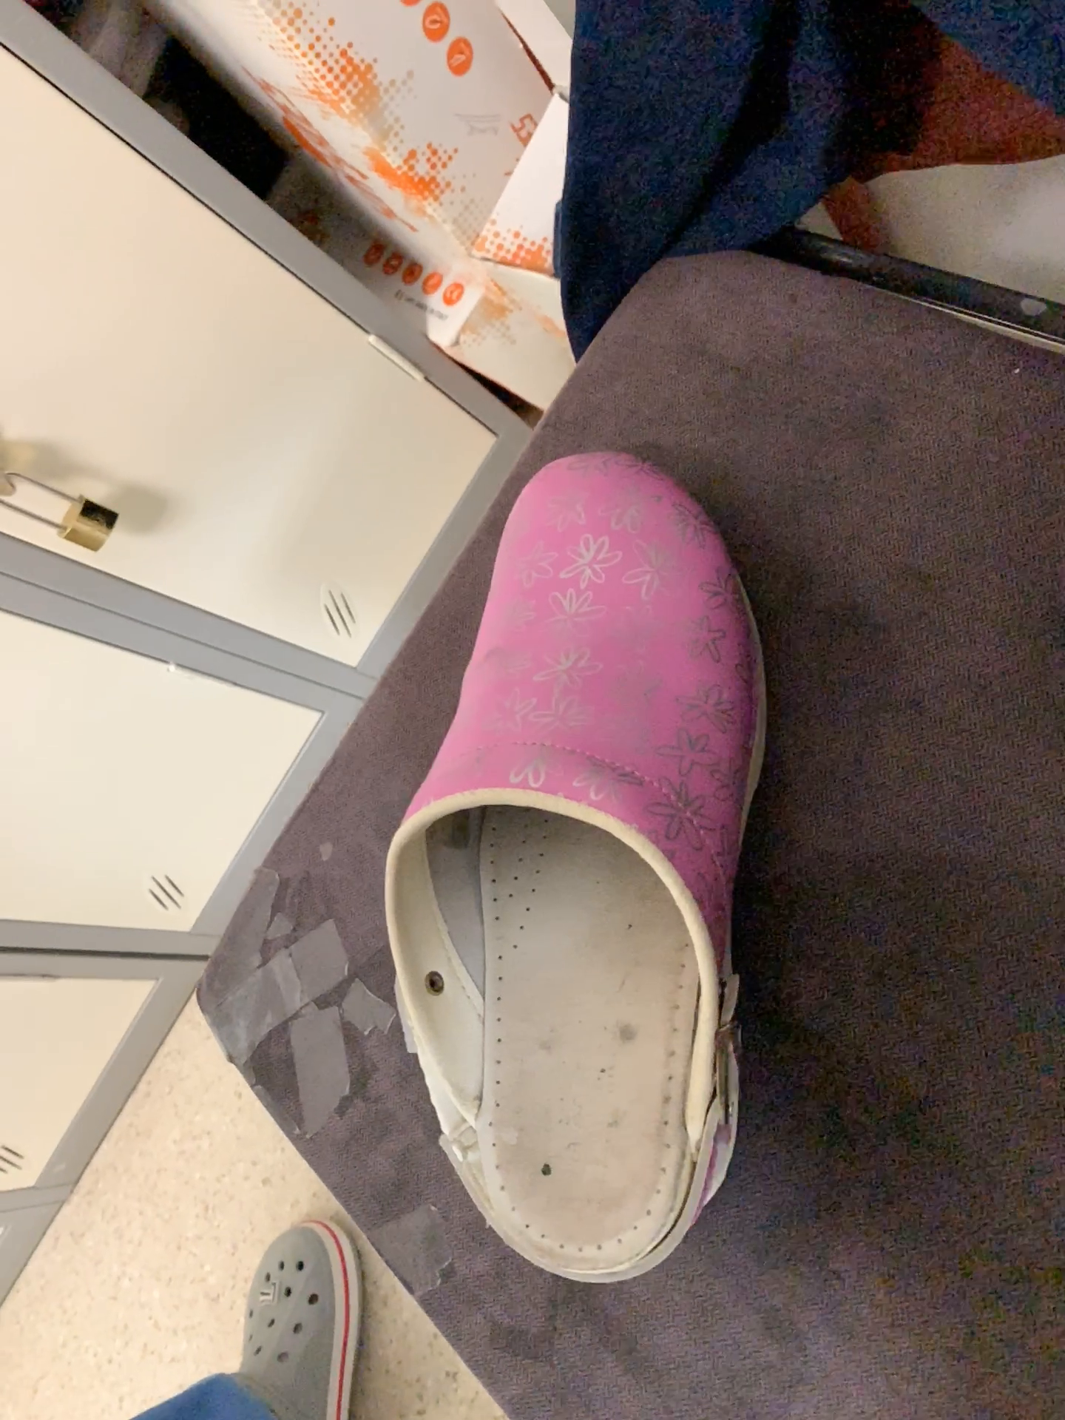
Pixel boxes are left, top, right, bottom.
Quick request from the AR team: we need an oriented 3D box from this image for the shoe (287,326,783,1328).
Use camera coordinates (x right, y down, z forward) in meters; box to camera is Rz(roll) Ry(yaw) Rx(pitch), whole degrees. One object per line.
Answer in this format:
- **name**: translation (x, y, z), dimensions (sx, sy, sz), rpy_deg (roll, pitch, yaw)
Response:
- **shoe**: translation (0.005, 0.028, 0.309), dimensions (0.100, 0.080, 0.230), rpy_deg (-7, 73, 31)
